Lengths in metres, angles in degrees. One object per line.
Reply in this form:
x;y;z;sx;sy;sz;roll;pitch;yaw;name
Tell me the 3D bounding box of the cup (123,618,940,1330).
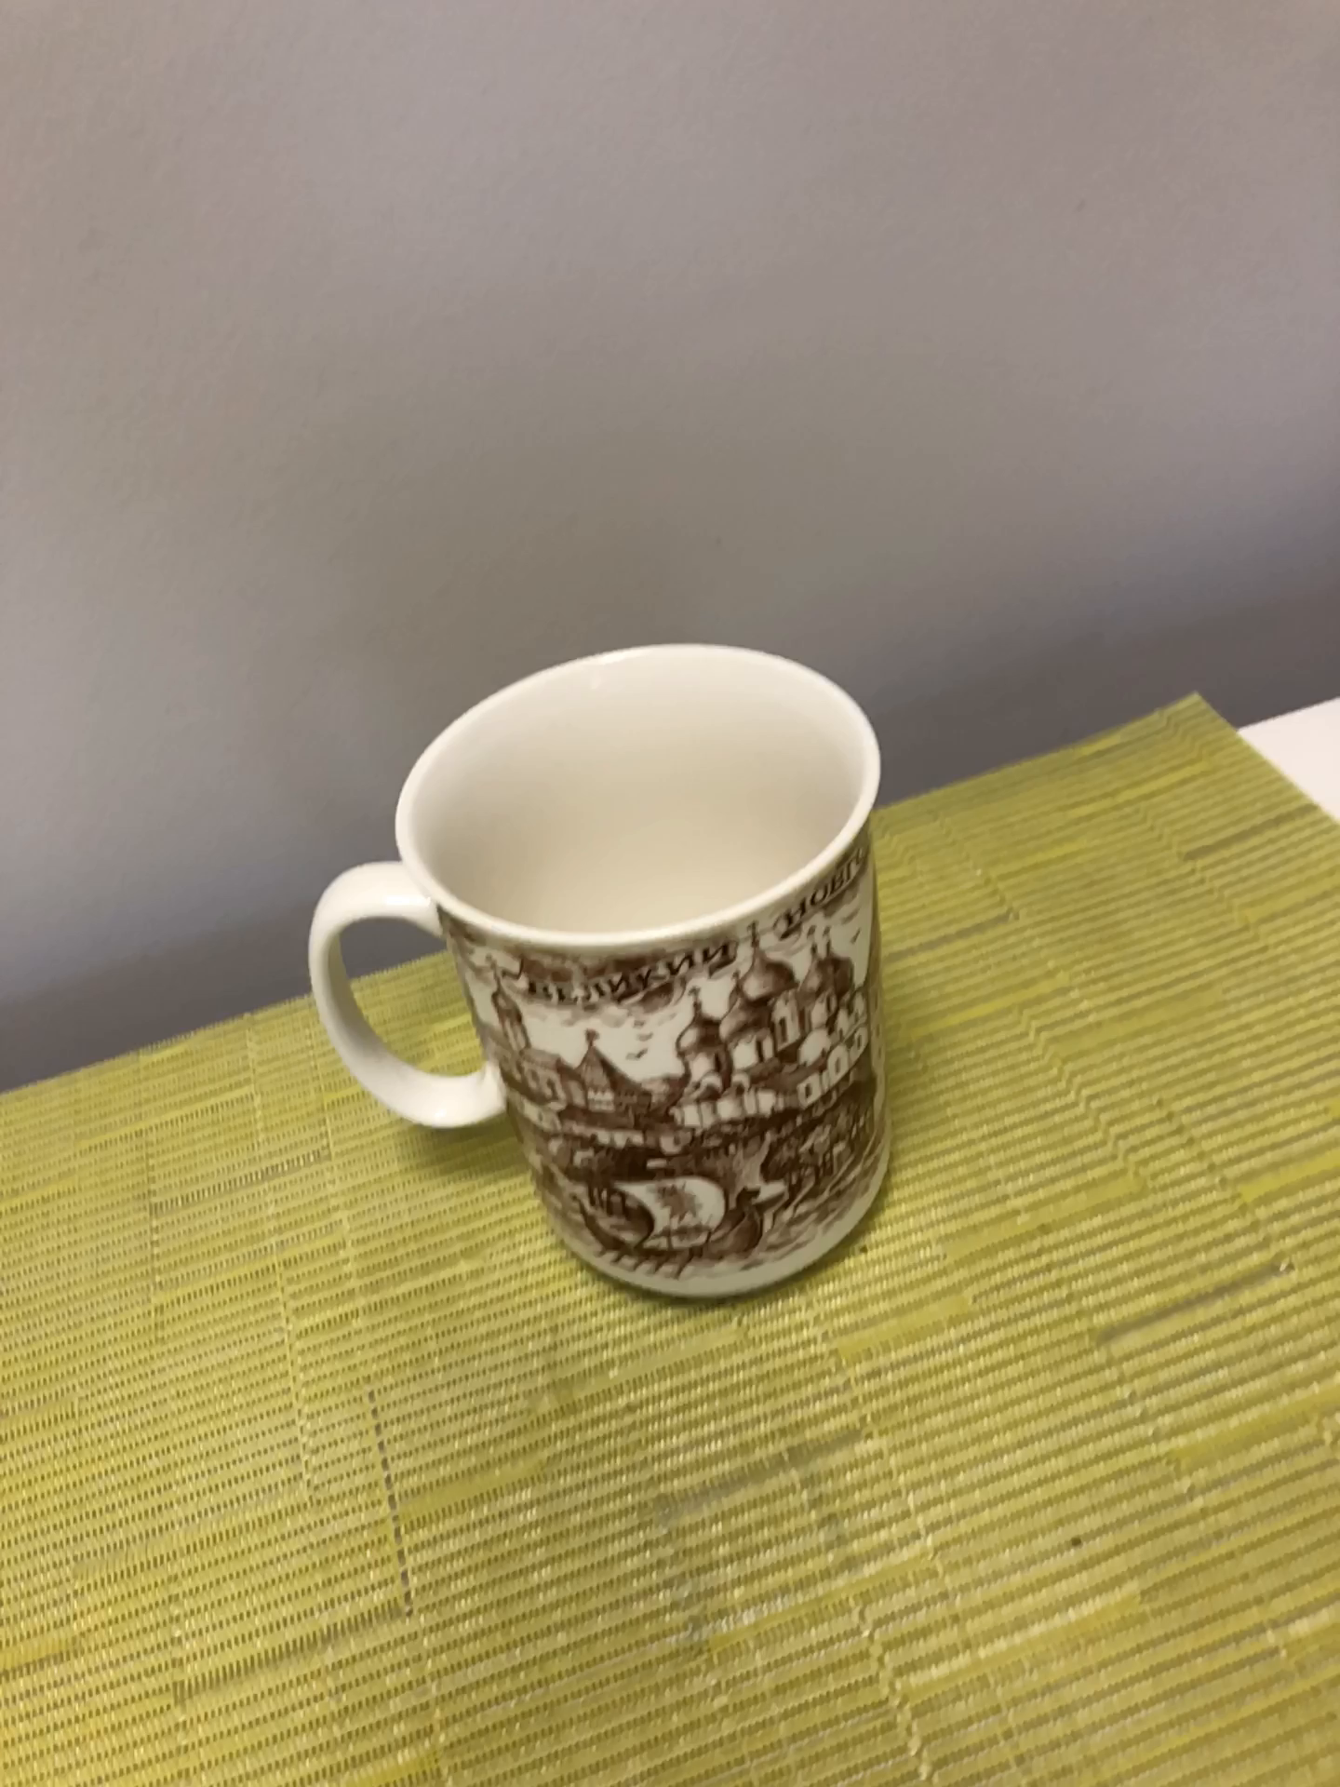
-0.013;0.016;0.288;0.124;0.092;0.095;-2;41;10;cup
